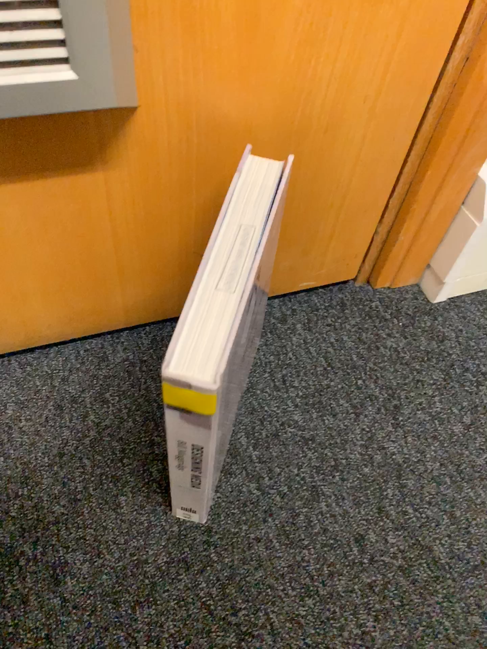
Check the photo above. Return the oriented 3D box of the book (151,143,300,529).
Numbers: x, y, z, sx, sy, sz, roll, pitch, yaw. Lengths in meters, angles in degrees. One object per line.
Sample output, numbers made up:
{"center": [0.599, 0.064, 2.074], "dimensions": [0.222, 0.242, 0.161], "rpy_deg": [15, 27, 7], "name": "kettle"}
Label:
{"center": [-0.013, 0.020, 0.399], "dimensions": [0.040, 0.232, 0.211], "rpy_deg": [14, 53, 4], "name": "book"}
